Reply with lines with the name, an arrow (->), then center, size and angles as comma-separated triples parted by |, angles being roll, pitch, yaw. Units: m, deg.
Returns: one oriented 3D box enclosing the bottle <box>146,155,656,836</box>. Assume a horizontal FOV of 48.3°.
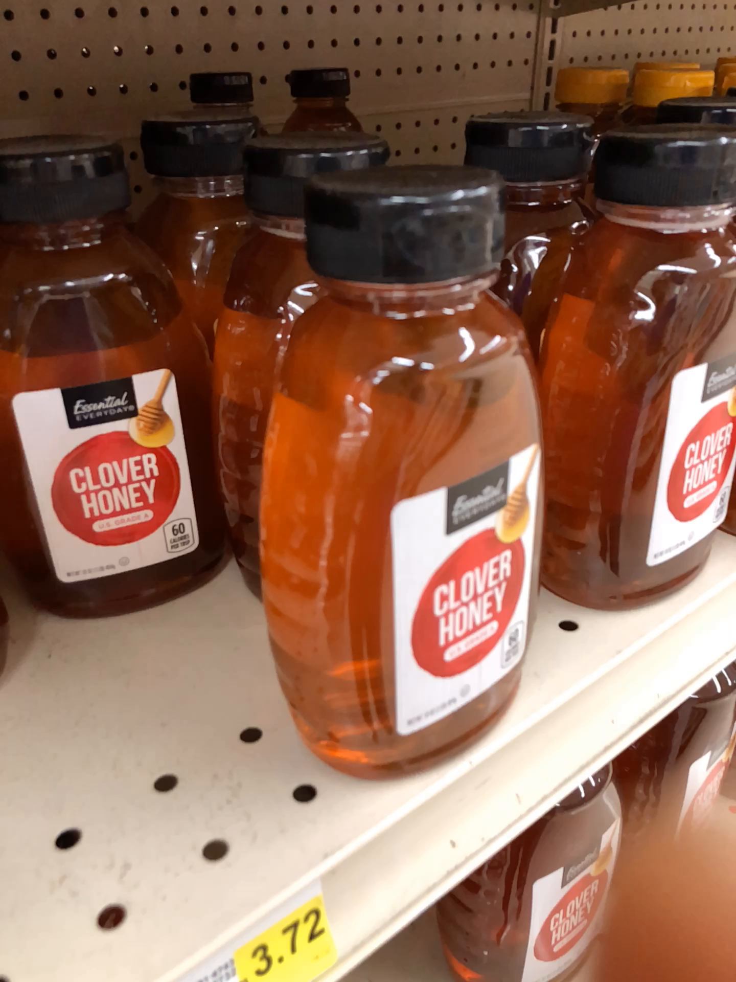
bottle -> 0.008, -0.003, 0.196 | 0.083, 0.130, 0.060 | -24, 37, -34
